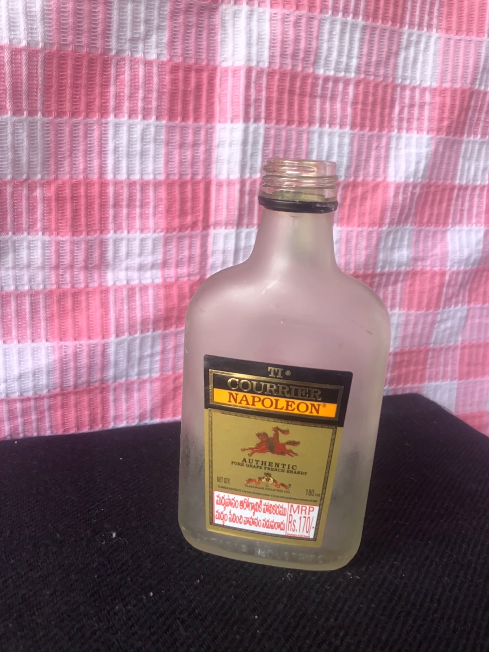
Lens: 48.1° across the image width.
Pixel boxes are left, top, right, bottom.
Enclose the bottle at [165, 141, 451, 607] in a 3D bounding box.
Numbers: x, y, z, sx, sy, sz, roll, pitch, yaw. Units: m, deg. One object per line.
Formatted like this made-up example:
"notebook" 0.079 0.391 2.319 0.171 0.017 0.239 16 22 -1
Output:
"bottle" 0.016 0.018 0.191 0.070 0.149 0.040 7 18 4
